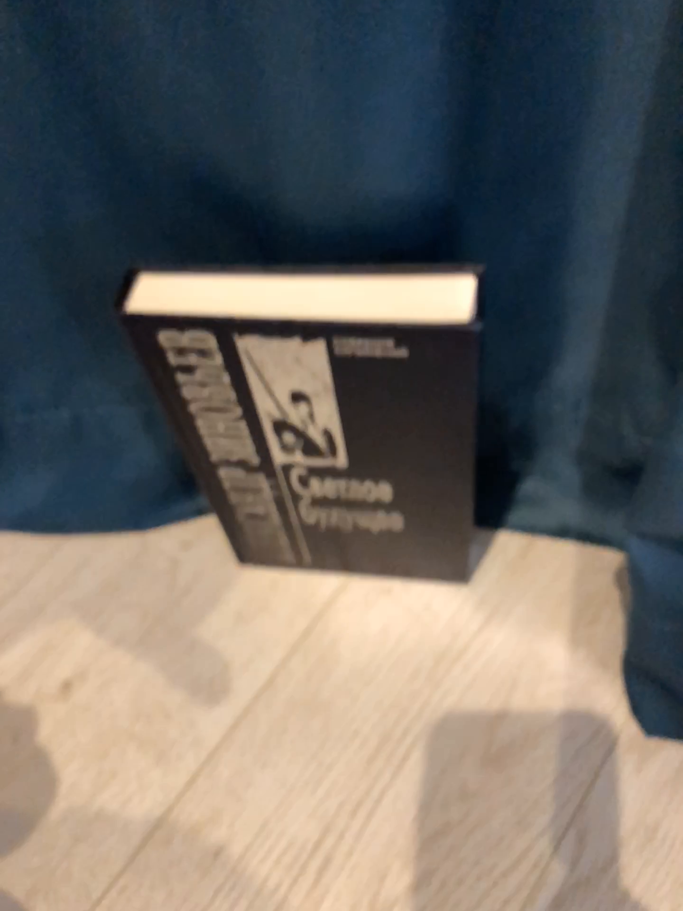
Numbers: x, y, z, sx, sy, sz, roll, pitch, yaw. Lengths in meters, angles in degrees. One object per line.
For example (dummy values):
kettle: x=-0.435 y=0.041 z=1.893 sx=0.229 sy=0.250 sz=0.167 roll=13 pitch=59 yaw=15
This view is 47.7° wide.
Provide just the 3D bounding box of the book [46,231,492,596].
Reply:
book: x=-0.015 y=-0.006 z=0.346 sx=0.150 sy=0.199 sz=0.040 roll=3 pitch=55 yaw=10
